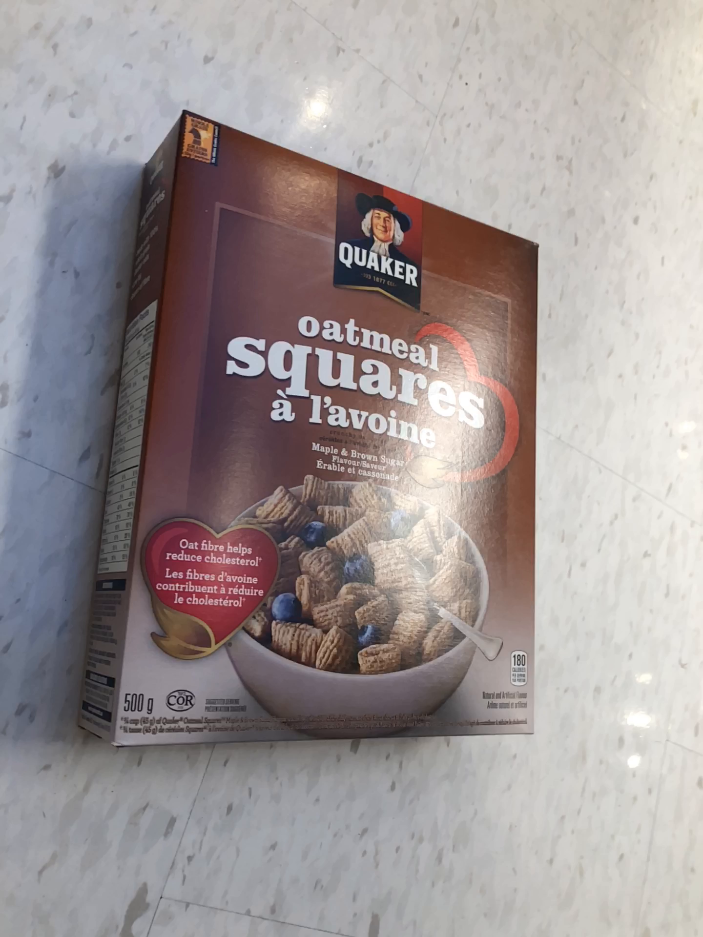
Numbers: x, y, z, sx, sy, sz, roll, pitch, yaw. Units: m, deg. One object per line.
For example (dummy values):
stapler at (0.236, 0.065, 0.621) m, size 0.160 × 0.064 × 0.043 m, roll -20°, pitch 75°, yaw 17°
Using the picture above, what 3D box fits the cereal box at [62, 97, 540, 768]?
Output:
cereal box at (-0.010, -0.006, 0.383) m, size 0.211 × 0.070 × 0.270 m, roll 10°, pitch 77°, yaw -29°
